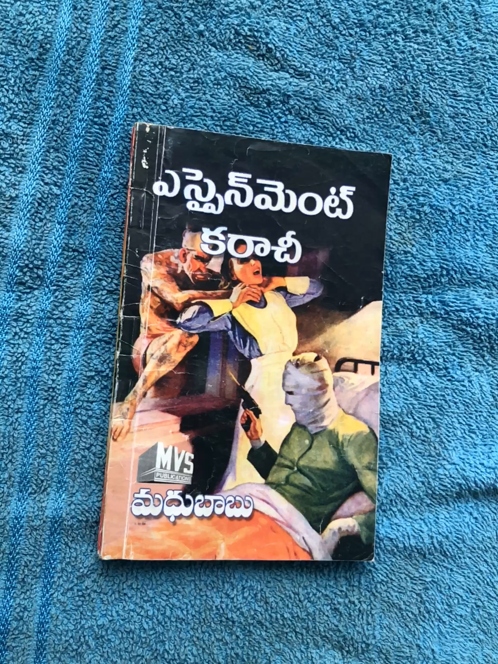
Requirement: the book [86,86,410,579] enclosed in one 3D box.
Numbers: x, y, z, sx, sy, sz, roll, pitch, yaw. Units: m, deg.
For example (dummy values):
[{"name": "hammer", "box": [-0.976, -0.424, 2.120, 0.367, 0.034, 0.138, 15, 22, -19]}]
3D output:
[{"name": "book", "box": [0.003, 0.002, 0.212, 0.110, 0.020, 0.170, 4, 85, -11]}]
